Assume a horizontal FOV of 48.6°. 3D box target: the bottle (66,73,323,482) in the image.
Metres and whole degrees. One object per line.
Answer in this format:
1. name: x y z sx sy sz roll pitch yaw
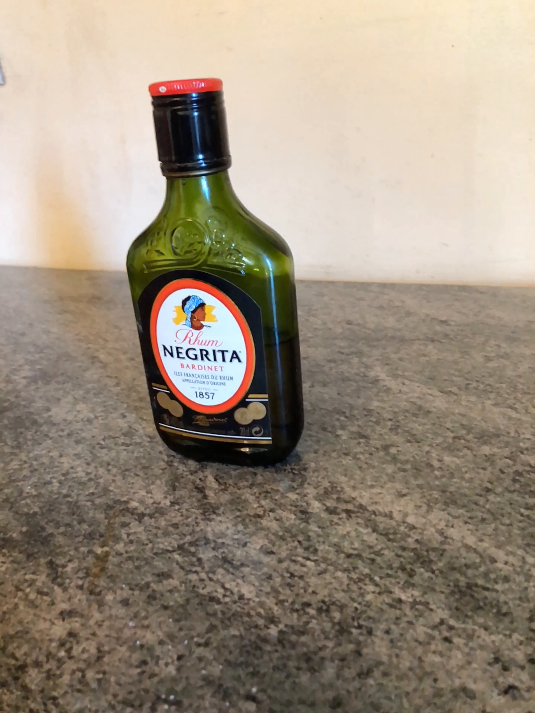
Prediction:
1. bottle: -0.023 -0.032 0.259 0.080 0.159 0.050 4 24 19
